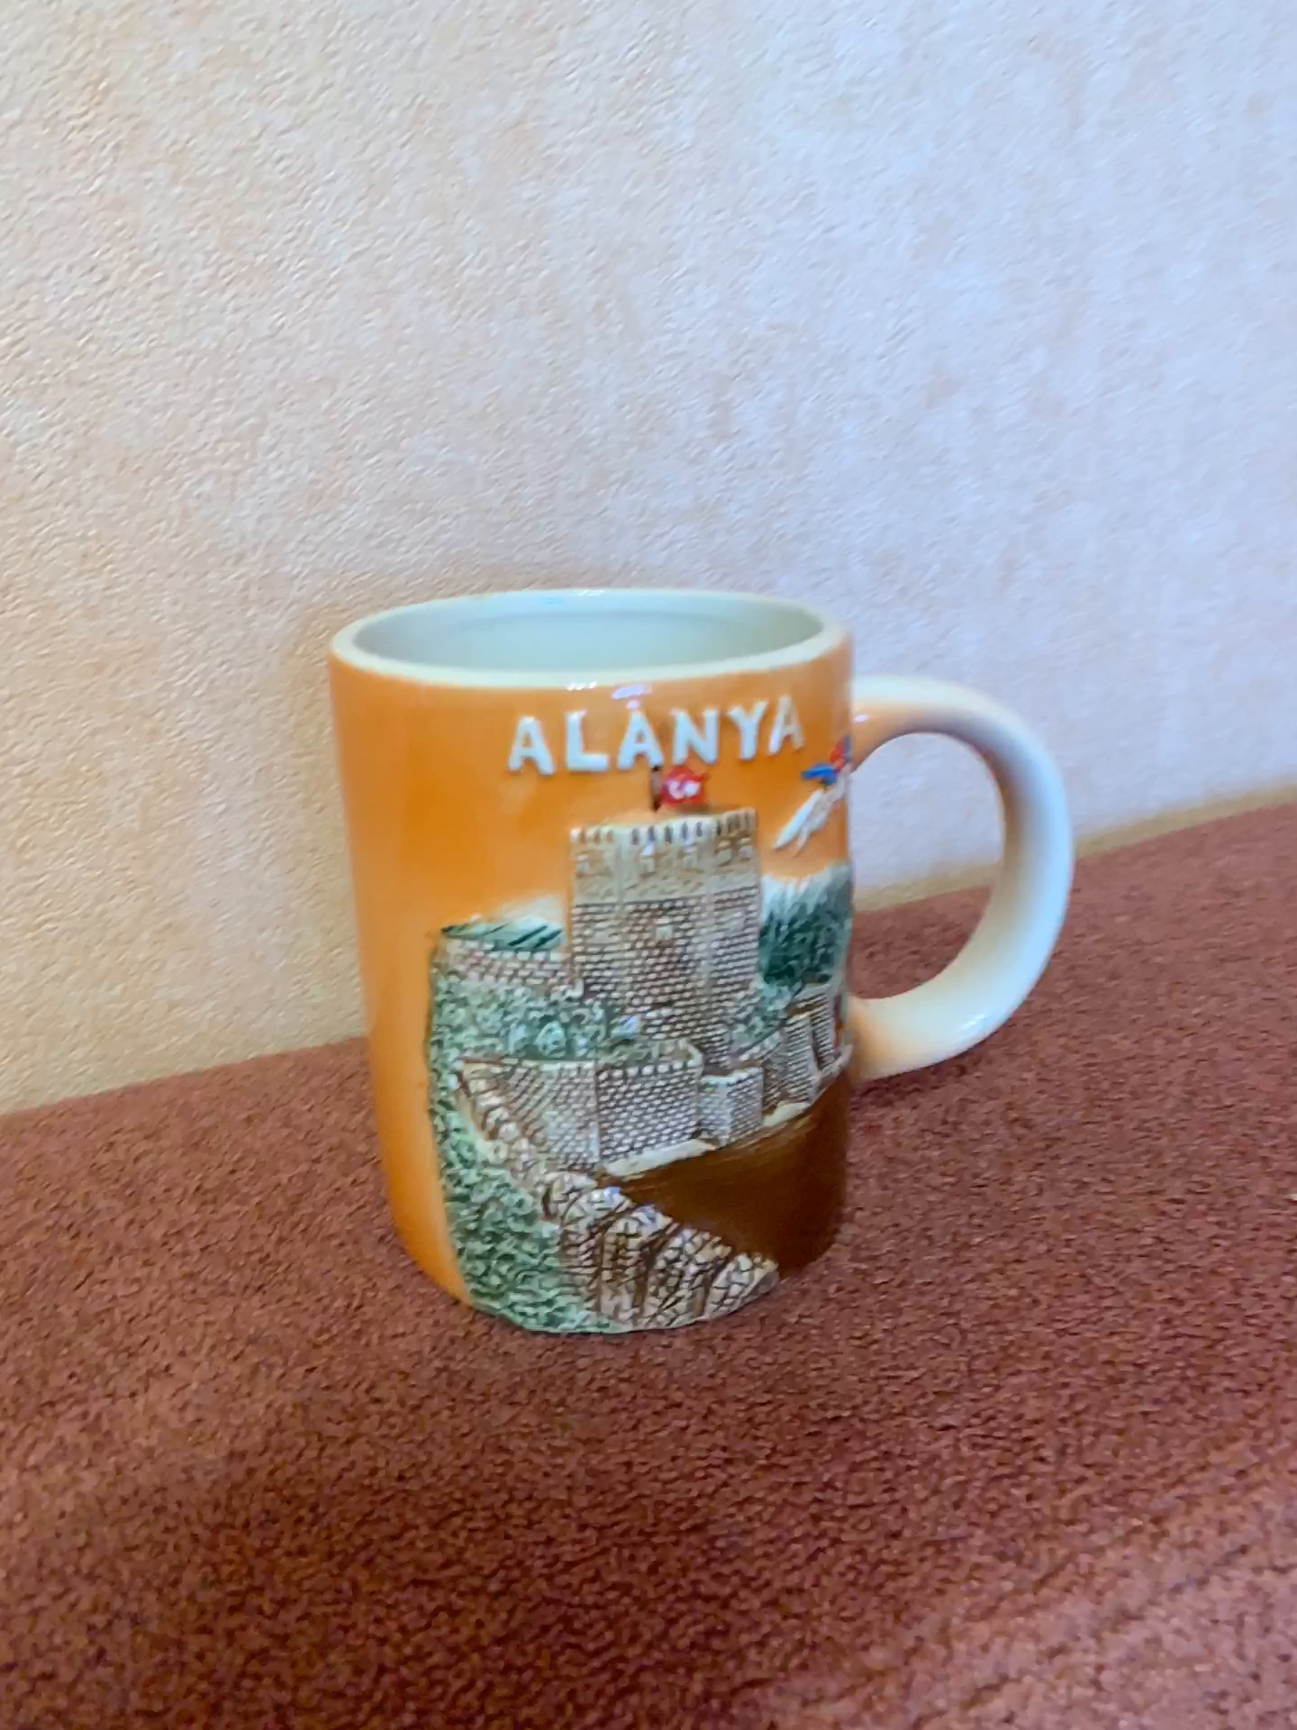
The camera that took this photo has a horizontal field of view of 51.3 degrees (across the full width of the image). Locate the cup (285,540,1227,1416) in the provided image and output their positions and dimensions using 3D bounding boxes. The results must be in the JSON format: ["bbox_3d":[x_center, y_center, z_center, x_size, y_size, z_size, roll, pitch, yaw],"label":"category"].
[{"bbox_3d":[0.011,0.006,0.225,0.119,0.098,0.088,-9,23,-17],"label":"cup"}]
